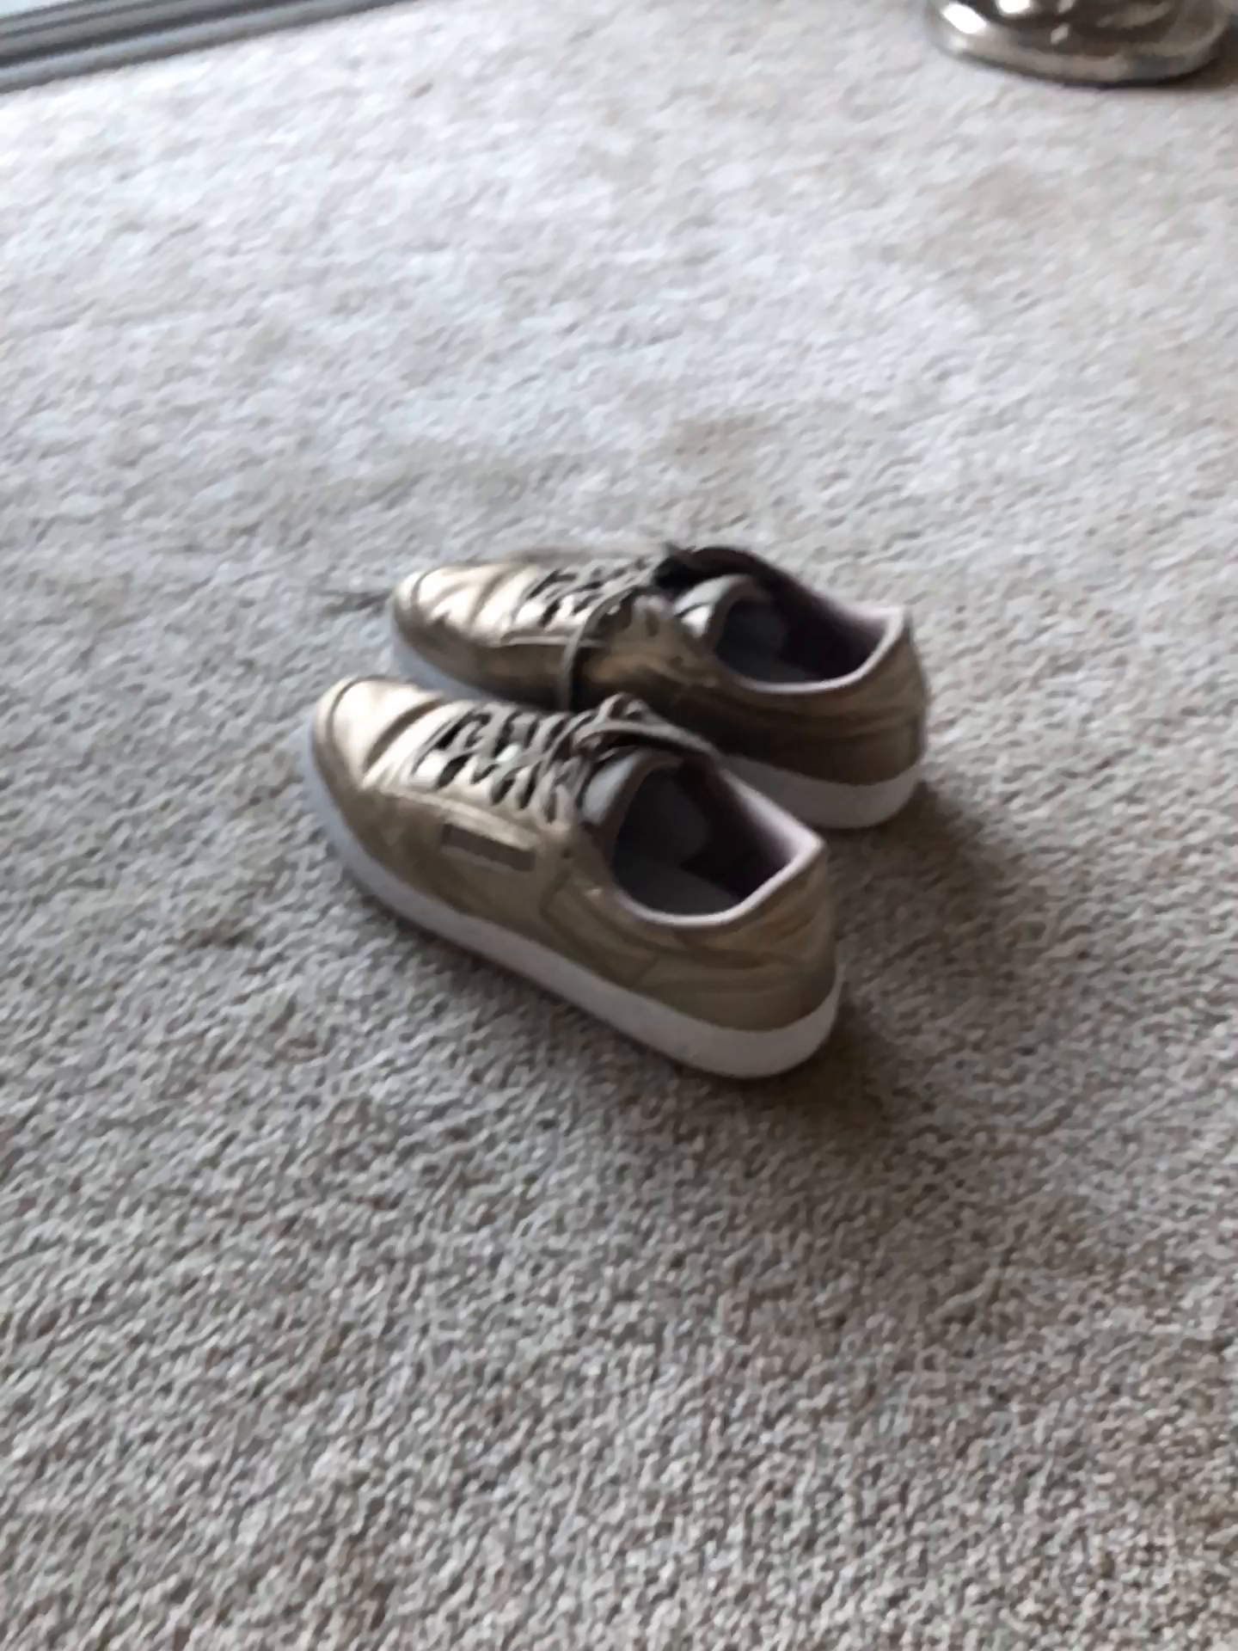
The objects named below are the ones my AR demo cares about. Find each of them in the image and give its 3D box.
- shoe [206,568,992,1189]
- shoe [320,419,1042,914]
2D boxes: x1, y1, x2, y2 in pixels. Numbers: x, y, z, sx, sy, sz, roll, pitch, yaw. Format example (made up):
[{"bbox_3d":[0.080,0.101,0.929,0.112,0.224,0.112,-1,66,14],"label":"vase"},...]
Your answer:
[{"bbox_3d":[-0.015,0.008,0.537,0.280,0.070,0.110,29,53,22],"label":"shoe"},{"bbox_3d":[0.021,-0.078,0.596,0.280,0.070,0.110,24,52,19],"label":"shoe"}]
